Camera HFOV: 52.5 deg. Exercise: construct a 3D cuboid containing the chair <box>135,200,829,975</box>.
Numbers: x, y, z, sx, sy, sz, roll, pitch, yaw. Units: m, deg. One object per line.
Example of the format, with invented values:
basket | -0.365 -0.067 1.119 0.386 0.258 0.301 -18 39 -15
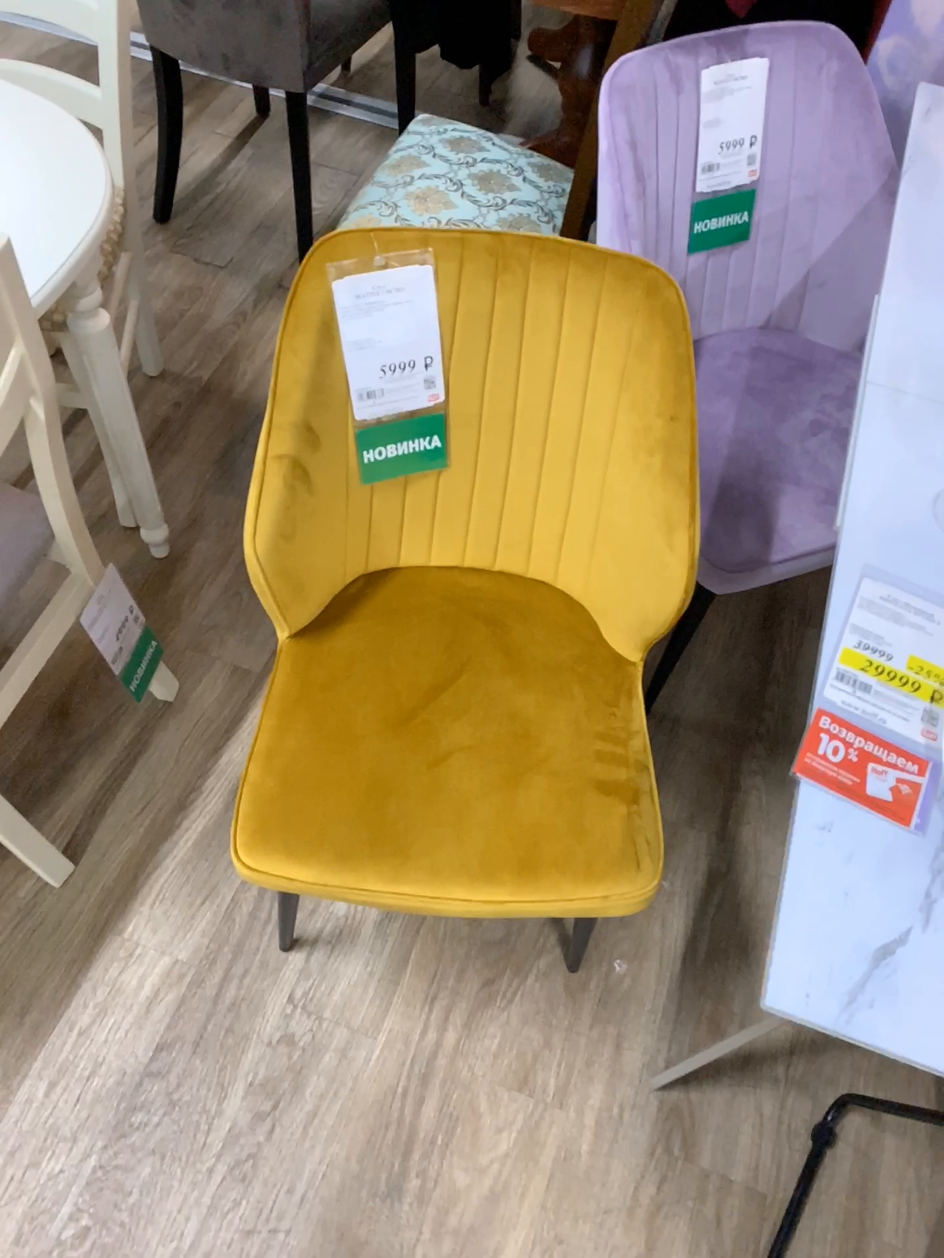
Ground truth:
chair | -0.018 0.046 1.194 0.500 0.886 0.502 5 56 -3
